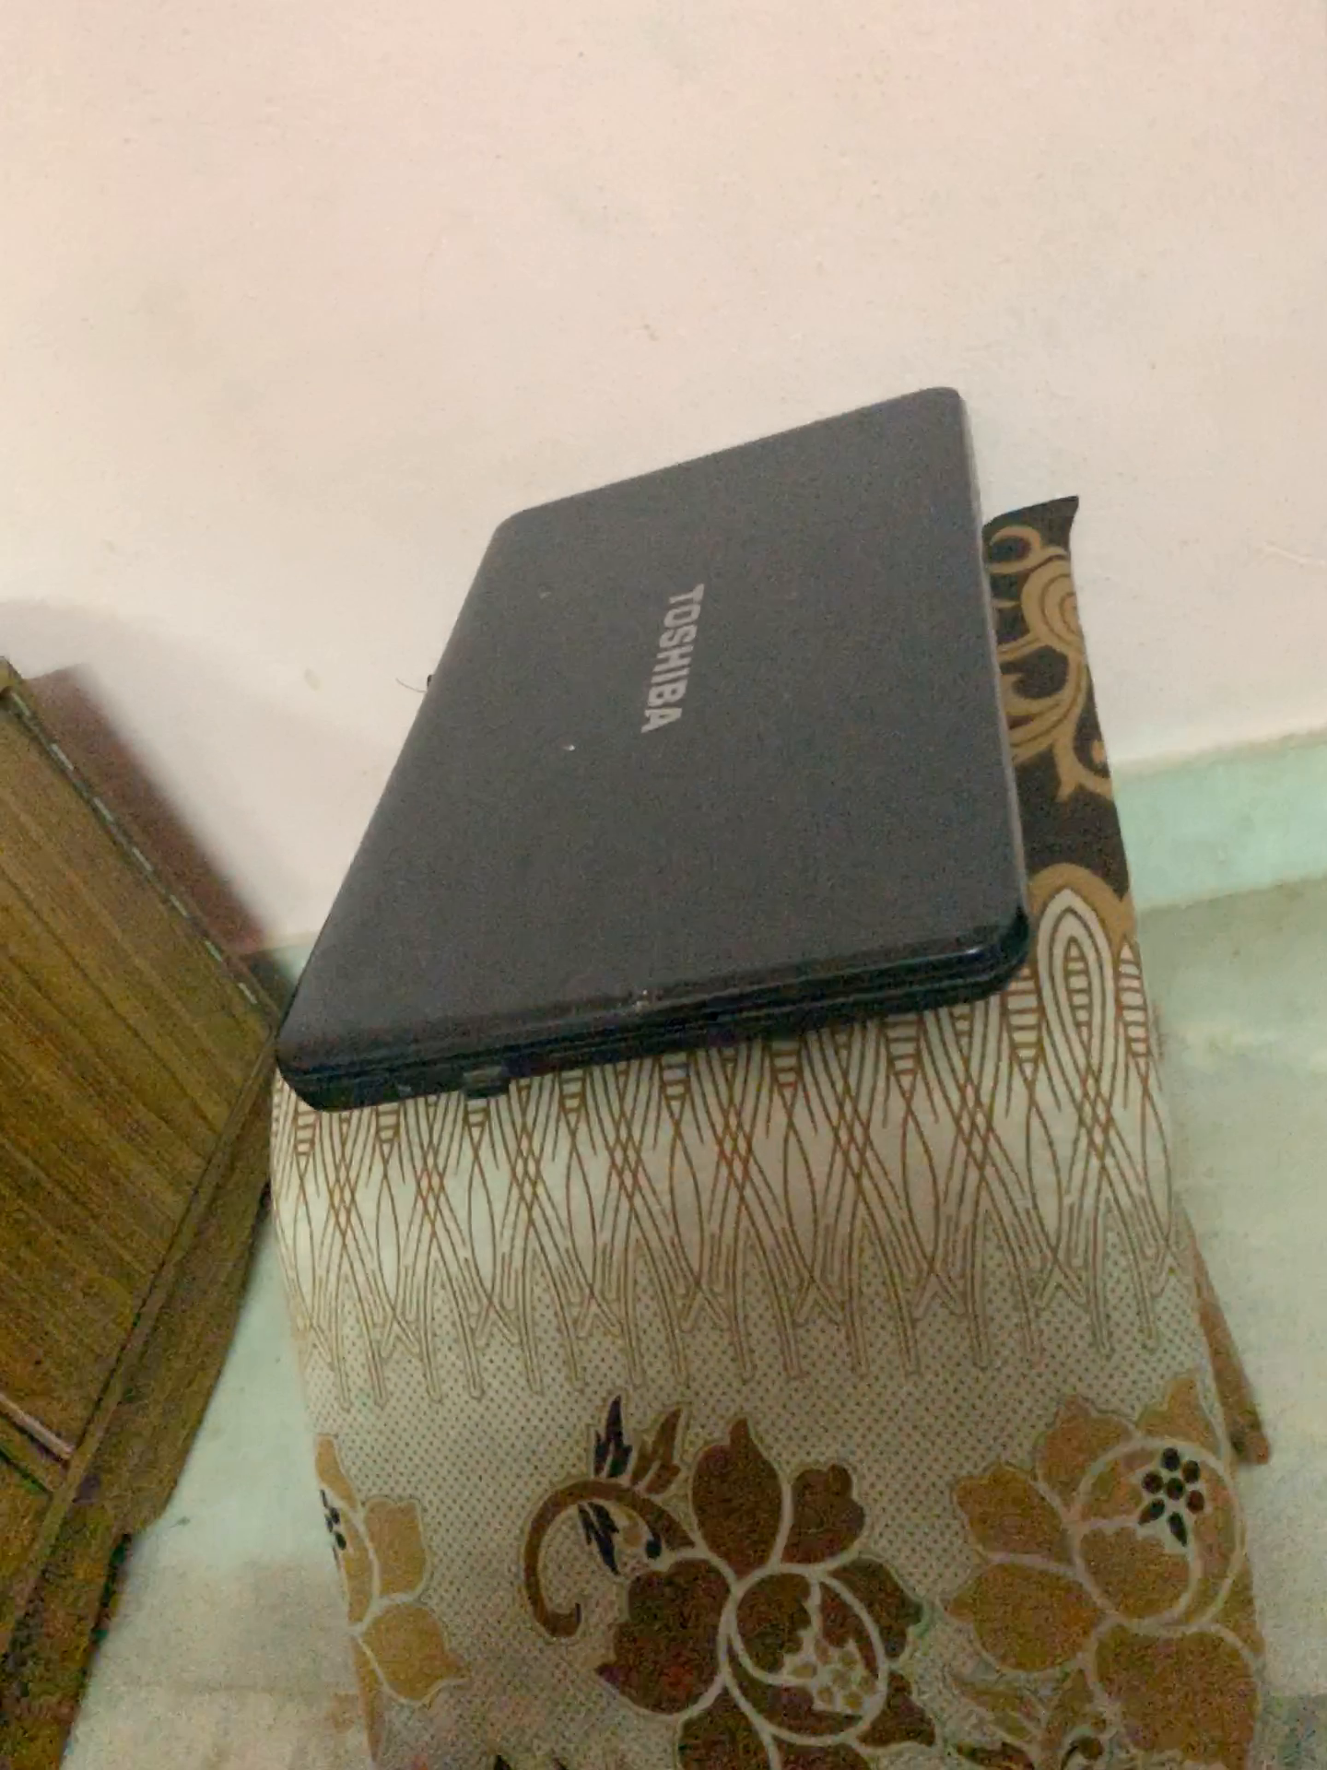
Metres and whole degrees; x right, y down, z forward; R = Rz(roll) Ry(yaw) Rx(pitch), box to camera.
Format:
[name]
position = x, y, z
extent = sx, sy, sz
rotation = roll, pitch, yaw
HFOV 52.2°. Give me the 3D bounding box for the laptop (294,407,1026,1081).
[laptop]
position = 0.008, -0.080, 0.521
extent = 0.223, 0.001, 0.372
rotation = -12, 38, 18
